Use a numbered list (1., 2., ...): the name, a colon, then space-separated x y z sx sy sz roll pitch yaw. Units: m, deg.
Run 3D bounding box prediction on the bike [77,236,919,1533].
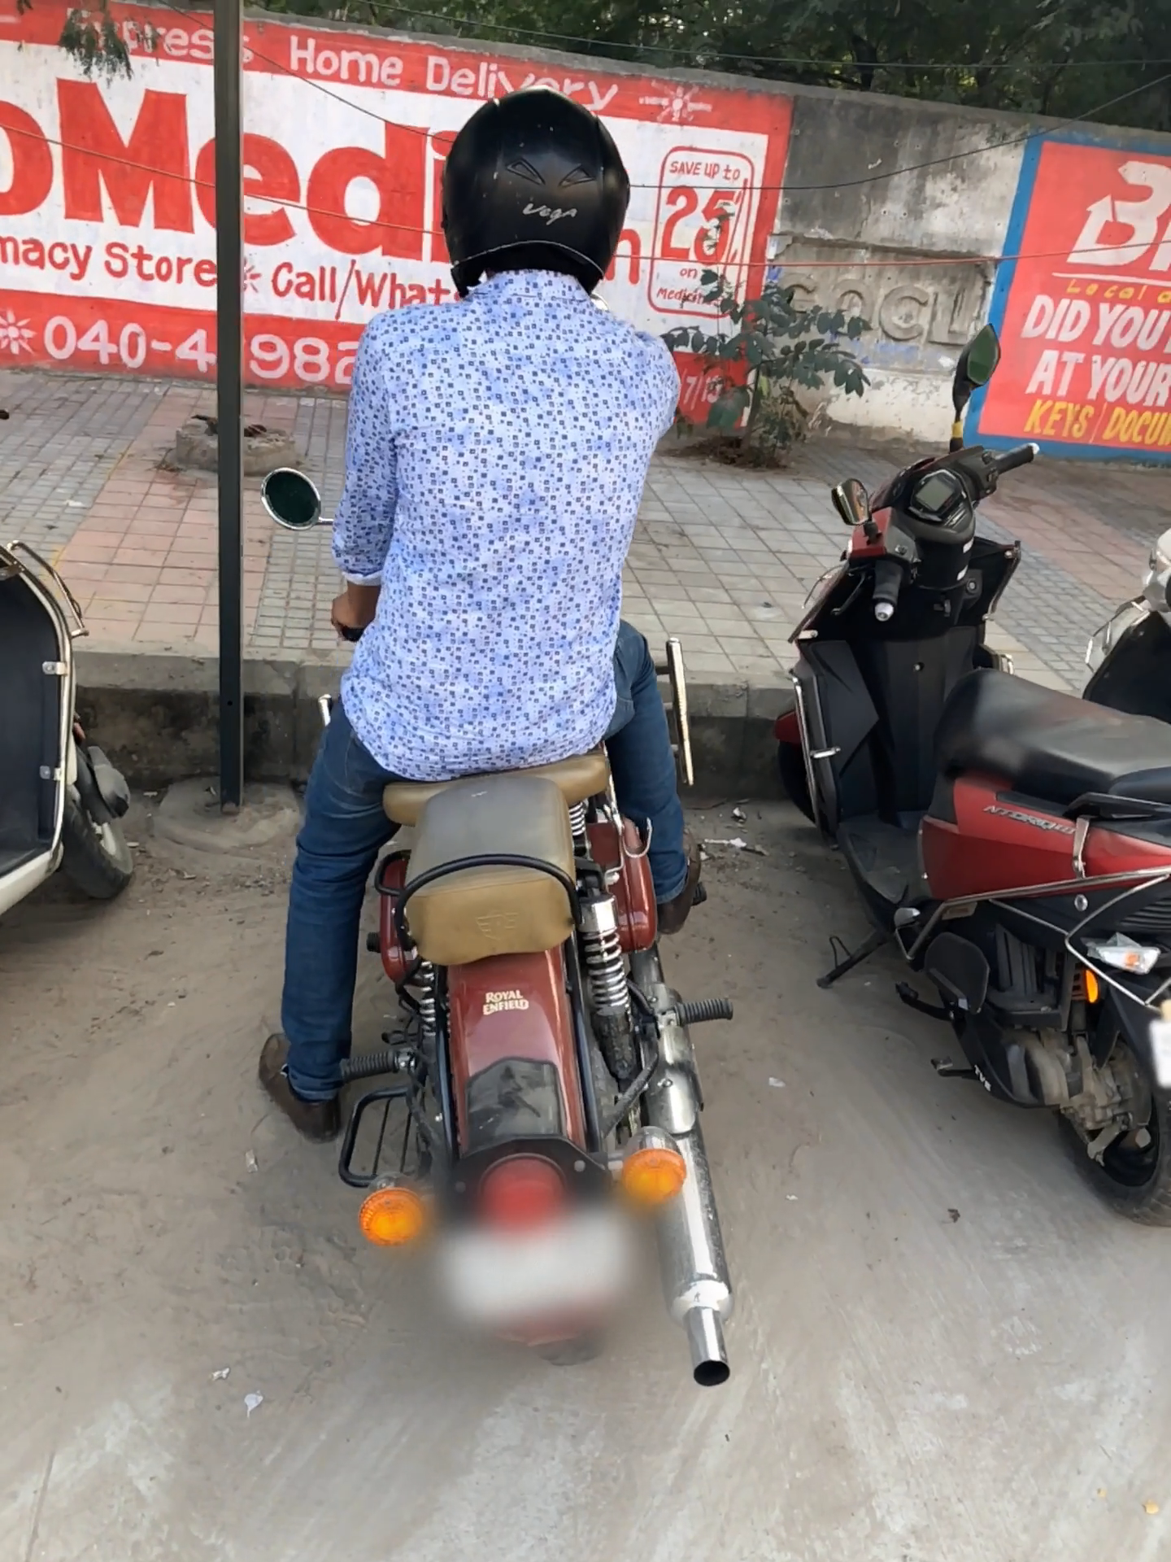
1. bike: -0.221 0.004 2.108 0.792 1.256 1.558 3 31 -9
